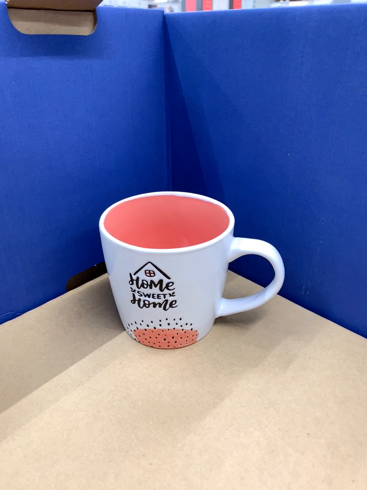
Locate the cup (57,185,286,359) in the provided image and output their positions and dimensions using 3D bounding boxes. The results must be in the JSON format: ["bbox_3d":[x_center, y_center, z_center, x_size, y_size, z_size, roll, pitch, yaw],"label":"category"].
[{"bbox_3d":[-0.003,0.011,0.242,0.115,0.070,0.083,3,28,6],"label":"cup"}]
